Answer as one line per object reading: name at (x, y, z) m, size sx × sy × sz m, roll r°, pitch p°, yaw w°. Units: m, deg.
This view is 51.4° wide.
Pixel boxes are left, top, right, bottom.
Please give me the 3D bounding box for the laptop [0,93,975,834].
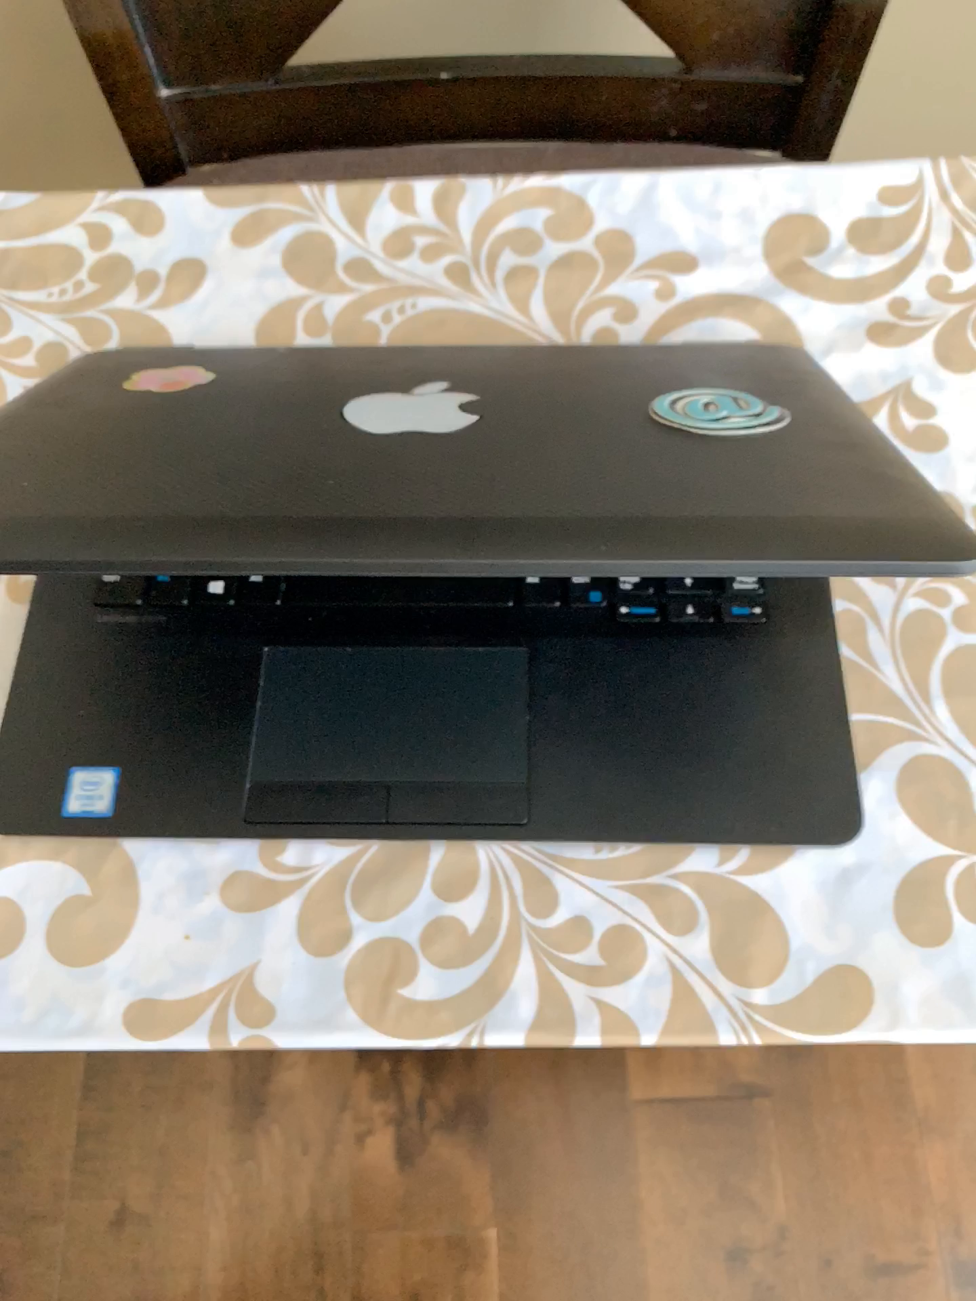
laptop at (-0.026, -0.056, 0.330) m, size 0.300 × 0.127 × 0.199 m, roll 1°, pitch 65°, yaw 2°
